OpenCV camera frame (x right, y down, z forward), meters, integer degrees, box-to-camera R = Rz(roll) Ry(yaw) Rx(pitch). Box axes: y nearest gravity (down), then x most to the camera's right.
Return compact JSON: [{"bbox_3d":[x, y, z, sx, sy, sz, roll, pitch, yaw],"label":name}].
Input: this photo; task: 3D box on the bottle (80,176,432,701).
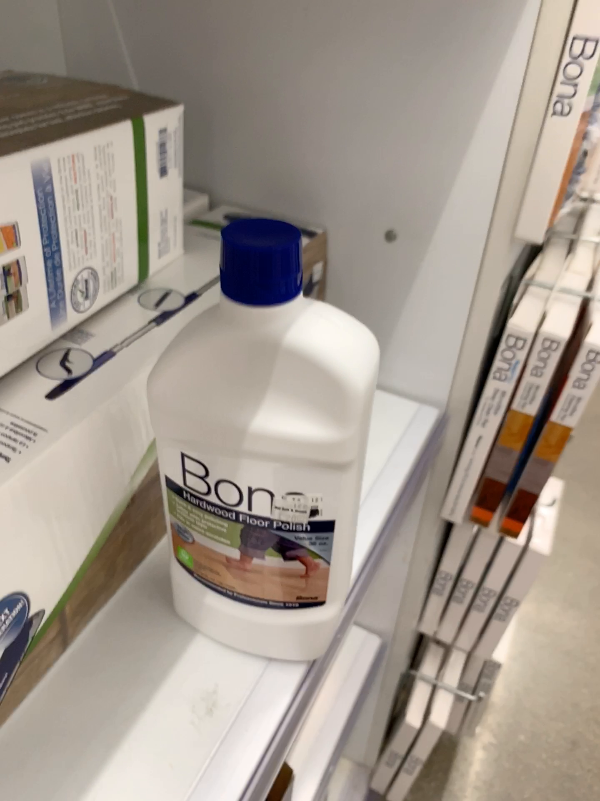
[{"bbox_3d":[-0.020,0.035,0.319,0.120,0.259,0.070,12,37,11],"label":"bottle"}]
